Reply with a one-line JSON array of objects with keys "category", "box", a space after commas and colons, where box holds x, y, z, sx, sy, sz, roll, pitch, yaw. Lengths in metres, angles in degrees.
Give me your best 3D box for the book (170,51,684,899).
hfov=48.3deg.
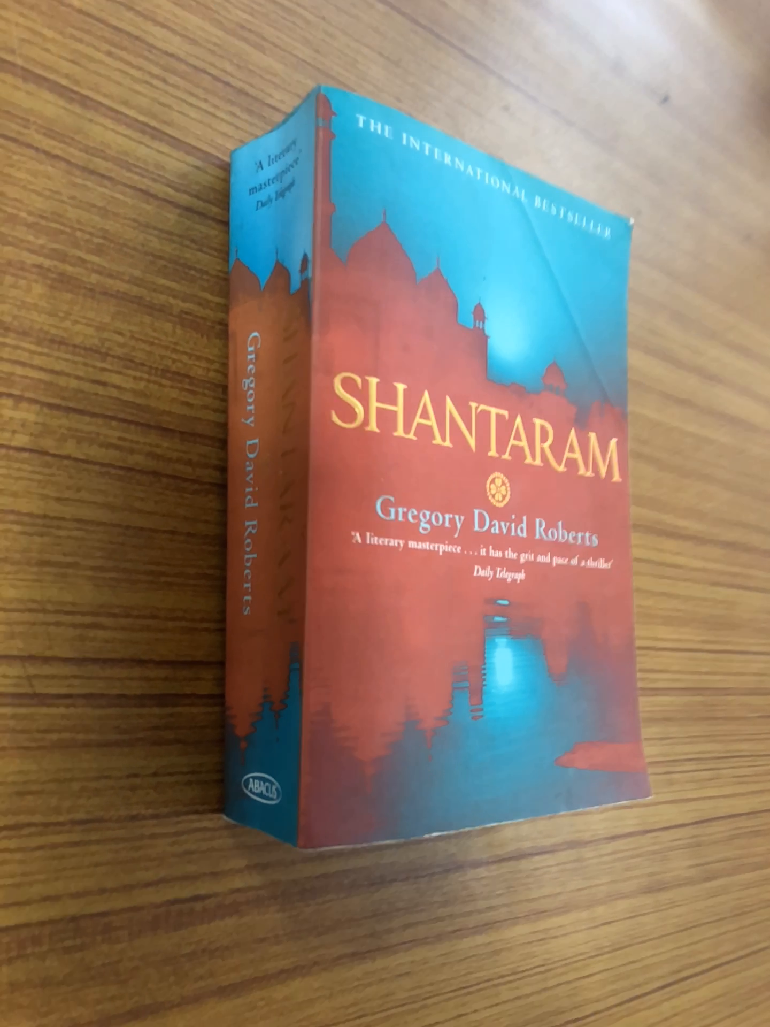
[{"category": "book", "box": [0.020, -0.006, 0.256, 0.151, 0.050, 0.190, 6, 80, -39]}]
